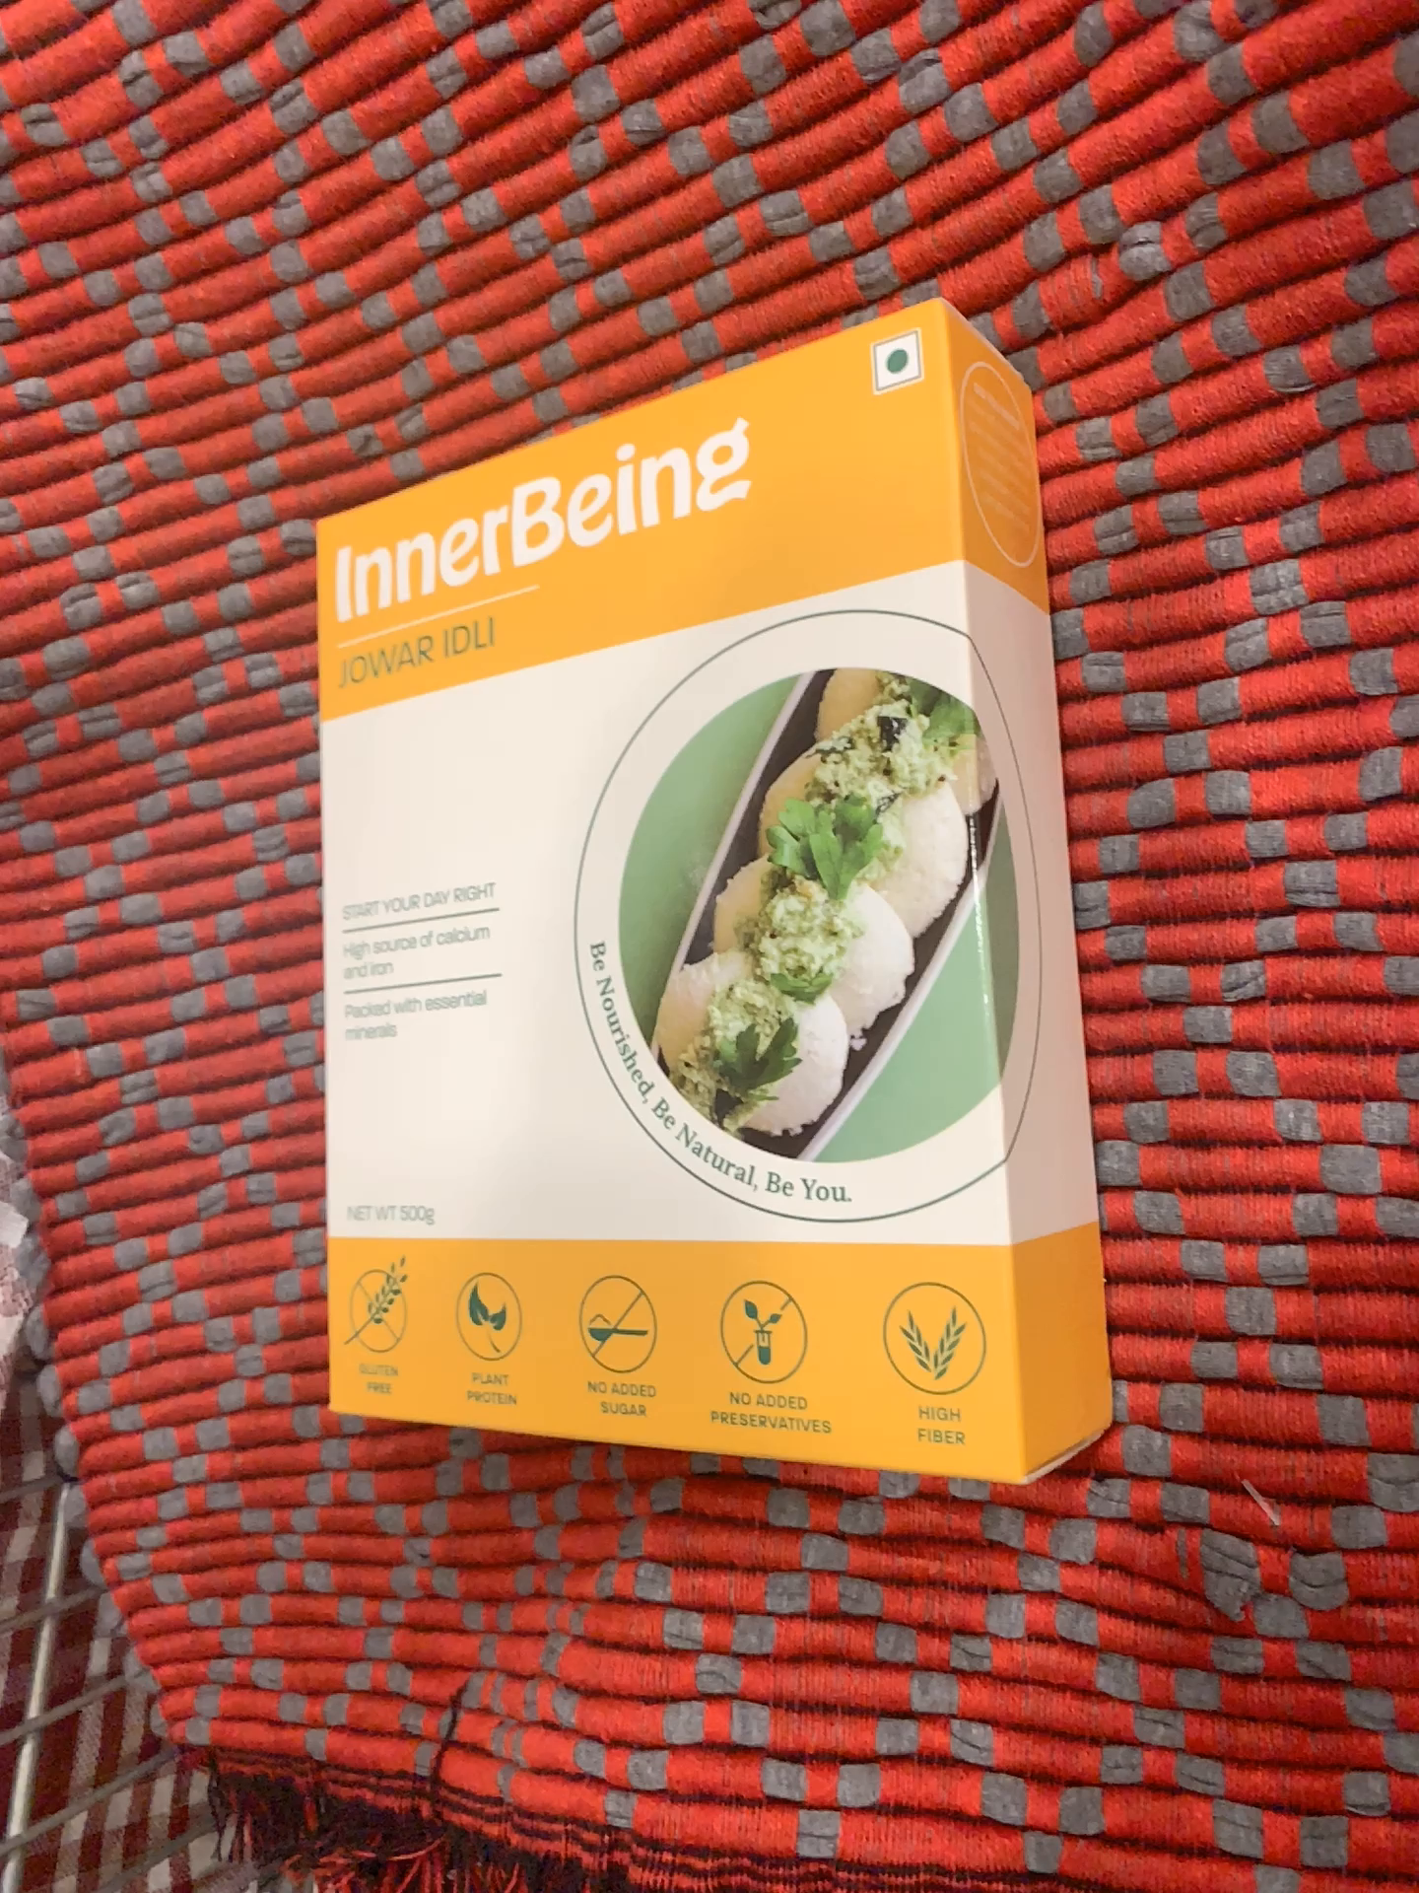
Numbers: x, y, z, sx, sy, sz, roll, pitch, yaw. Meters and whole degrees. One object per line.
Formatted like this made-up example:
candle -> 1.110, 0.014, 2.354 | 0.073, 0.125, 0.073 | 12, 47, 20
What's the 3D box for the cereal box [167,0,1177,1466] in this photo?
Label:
cereal box -> -0.011, -0.024, 0.251 | 0.151, 0.070, 0.190 | -6, 82, 29
